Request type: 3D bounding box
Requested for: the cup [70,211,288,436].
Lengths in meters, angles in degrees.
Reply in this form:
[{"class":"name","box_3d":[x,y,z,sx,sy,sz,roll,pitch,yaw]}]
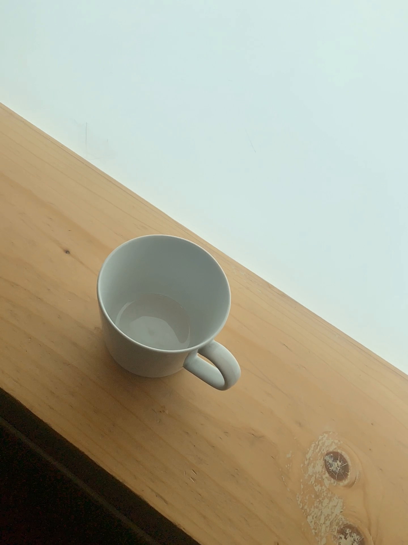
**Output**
[{"class":"cup","box_3d":[-0.024,0.039,0.331,0.130,0.080,0.090,41,57,12]}]
